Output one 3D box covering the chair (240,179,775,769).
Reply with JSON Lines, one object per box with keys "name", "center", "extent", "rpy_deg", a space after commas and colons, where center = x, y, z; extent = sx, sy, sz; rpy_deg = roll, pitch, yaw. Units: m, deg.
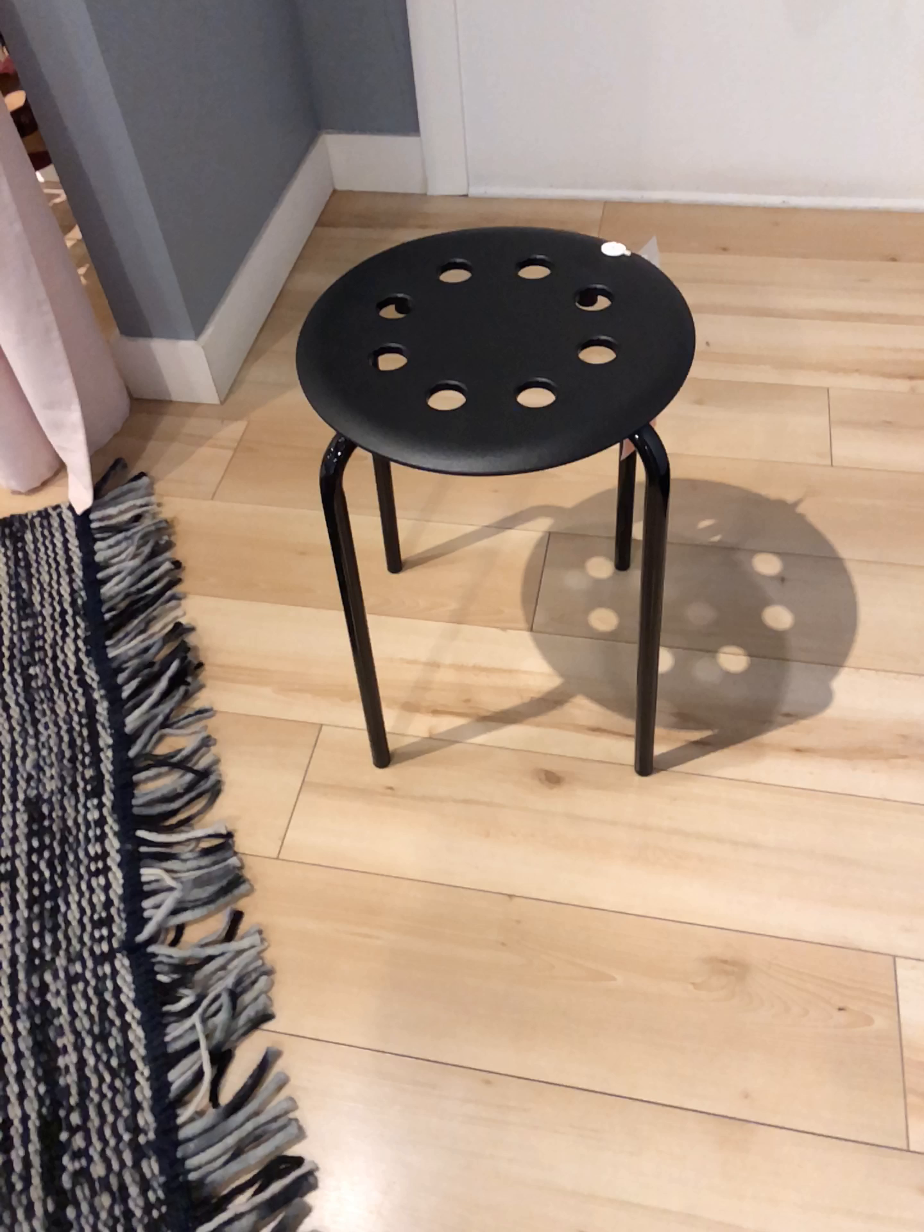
{"name": "chair", "center": [0.053, -0.126, 0.978], "extent": [0.370, 0.399, 0.381], "rpy_deg": [0, 50, 5]}
